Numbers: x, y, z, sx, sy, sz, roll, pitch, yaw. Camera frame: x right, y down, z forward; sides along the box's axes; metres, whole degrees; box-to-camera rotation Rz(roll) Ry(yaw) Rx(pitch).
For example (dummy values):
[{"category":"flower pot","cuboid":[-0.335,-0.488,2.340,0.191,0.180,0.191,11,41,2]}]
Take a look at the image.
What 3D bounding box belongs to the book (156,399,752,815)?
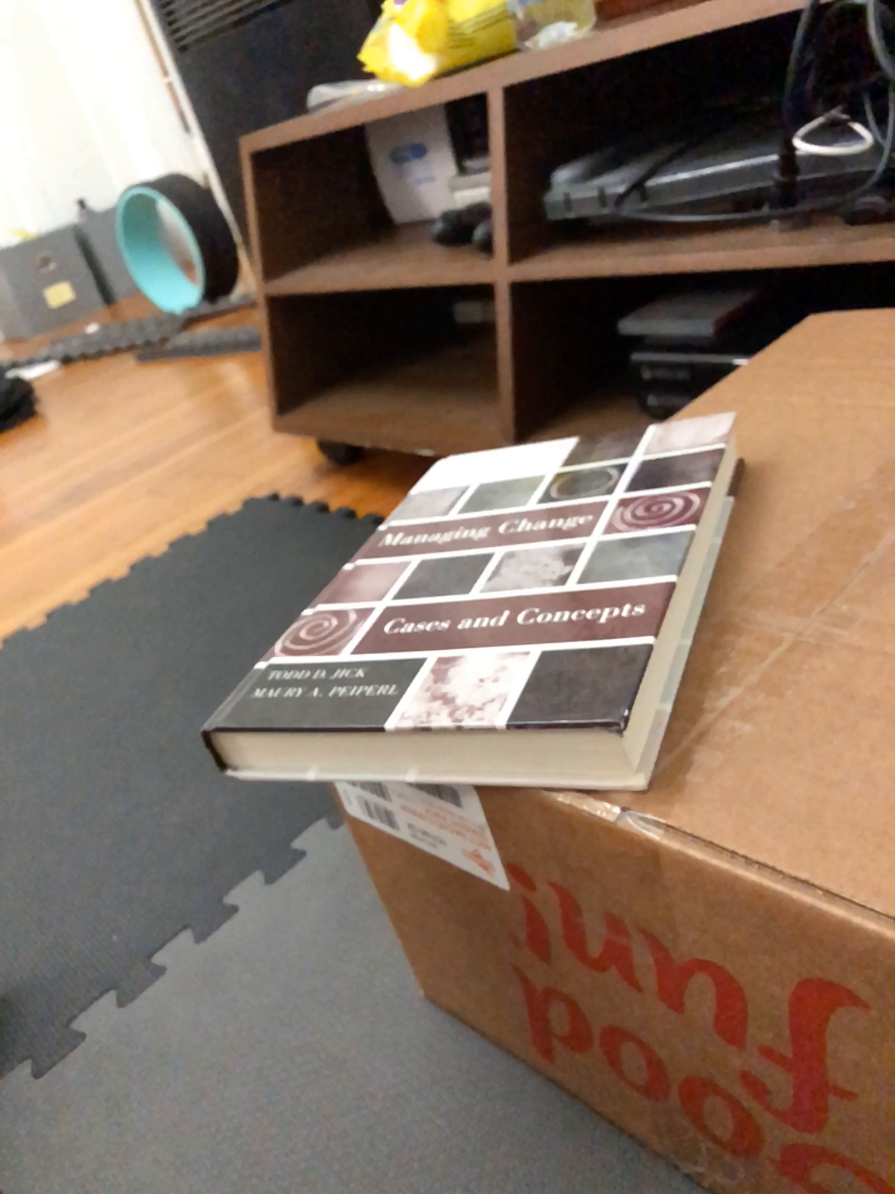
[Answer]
[{"category":"book","cuboid":[0.021,-0.010,0.430,0.180,0.030,0.251,-3,31,27]}]
